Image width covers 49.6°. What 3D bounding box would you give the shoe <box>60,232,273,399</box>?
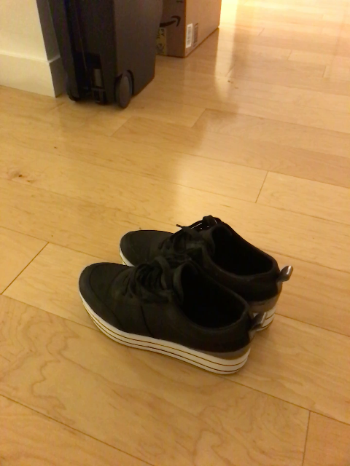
[{"bbox_3d":[-0.012,0.103,0.513,0.250,0.099,0.101,18,45,18],"label":"shoe"}]

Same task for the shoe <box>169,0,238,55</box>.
[{"bbox_3d":[0.511,-4.240,7.453,1.001,0.993,1.006,-13,44,-15],"label":"shoe"}]

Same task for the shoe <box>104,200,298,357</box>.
[{"bbox_3d":[0.033,0.058,0.567,0.250,0.099,0.111,22,46,21],"label":"shoe"}]
